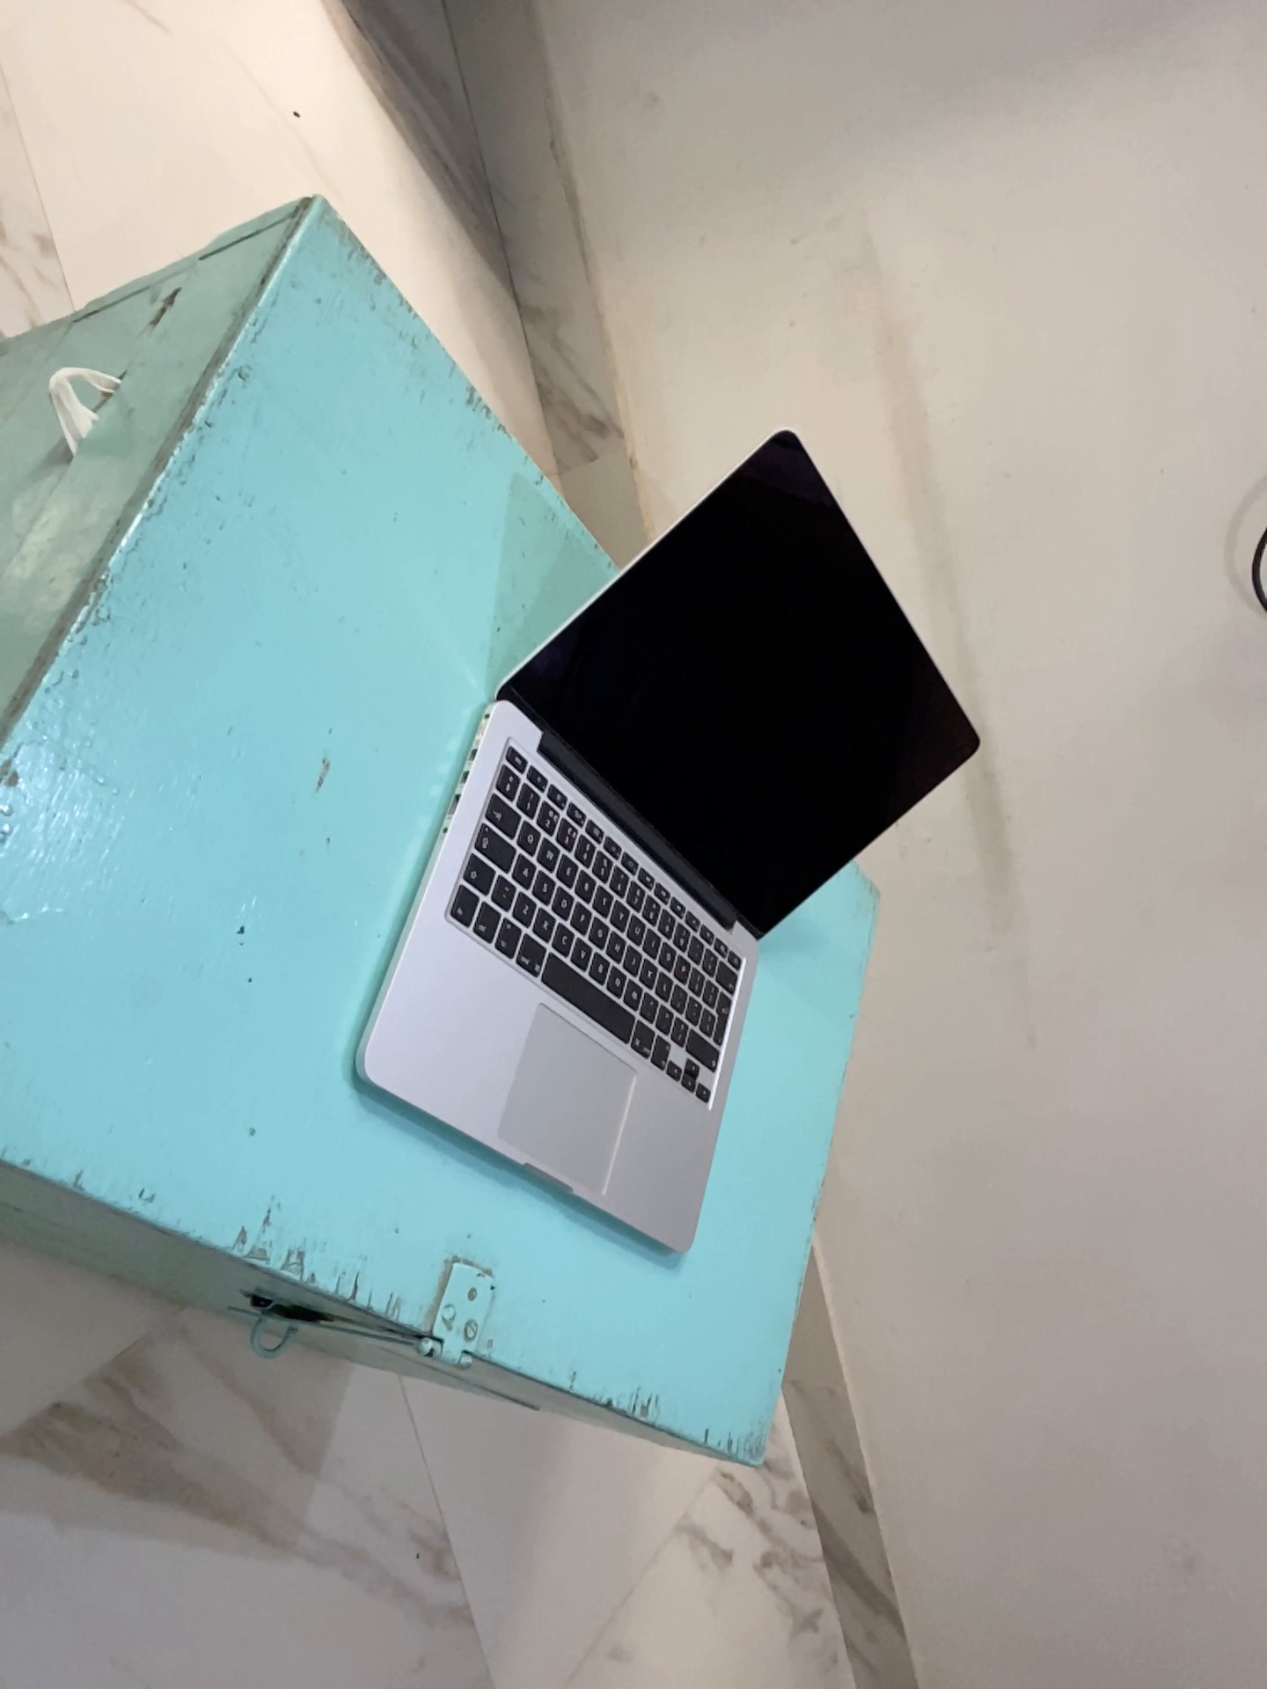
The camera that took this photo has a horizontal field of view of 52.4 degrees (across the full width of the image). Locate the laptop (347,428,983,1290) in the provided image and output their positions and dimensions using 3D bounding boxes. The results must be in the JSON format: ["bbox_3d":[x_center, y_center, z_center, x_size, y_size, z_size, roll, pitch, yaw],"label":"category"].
[{"bbox_3d":[0.055,0.024,0.759,0.314,0.148,0.377,43,53,-44],"label":"laptop"}]
